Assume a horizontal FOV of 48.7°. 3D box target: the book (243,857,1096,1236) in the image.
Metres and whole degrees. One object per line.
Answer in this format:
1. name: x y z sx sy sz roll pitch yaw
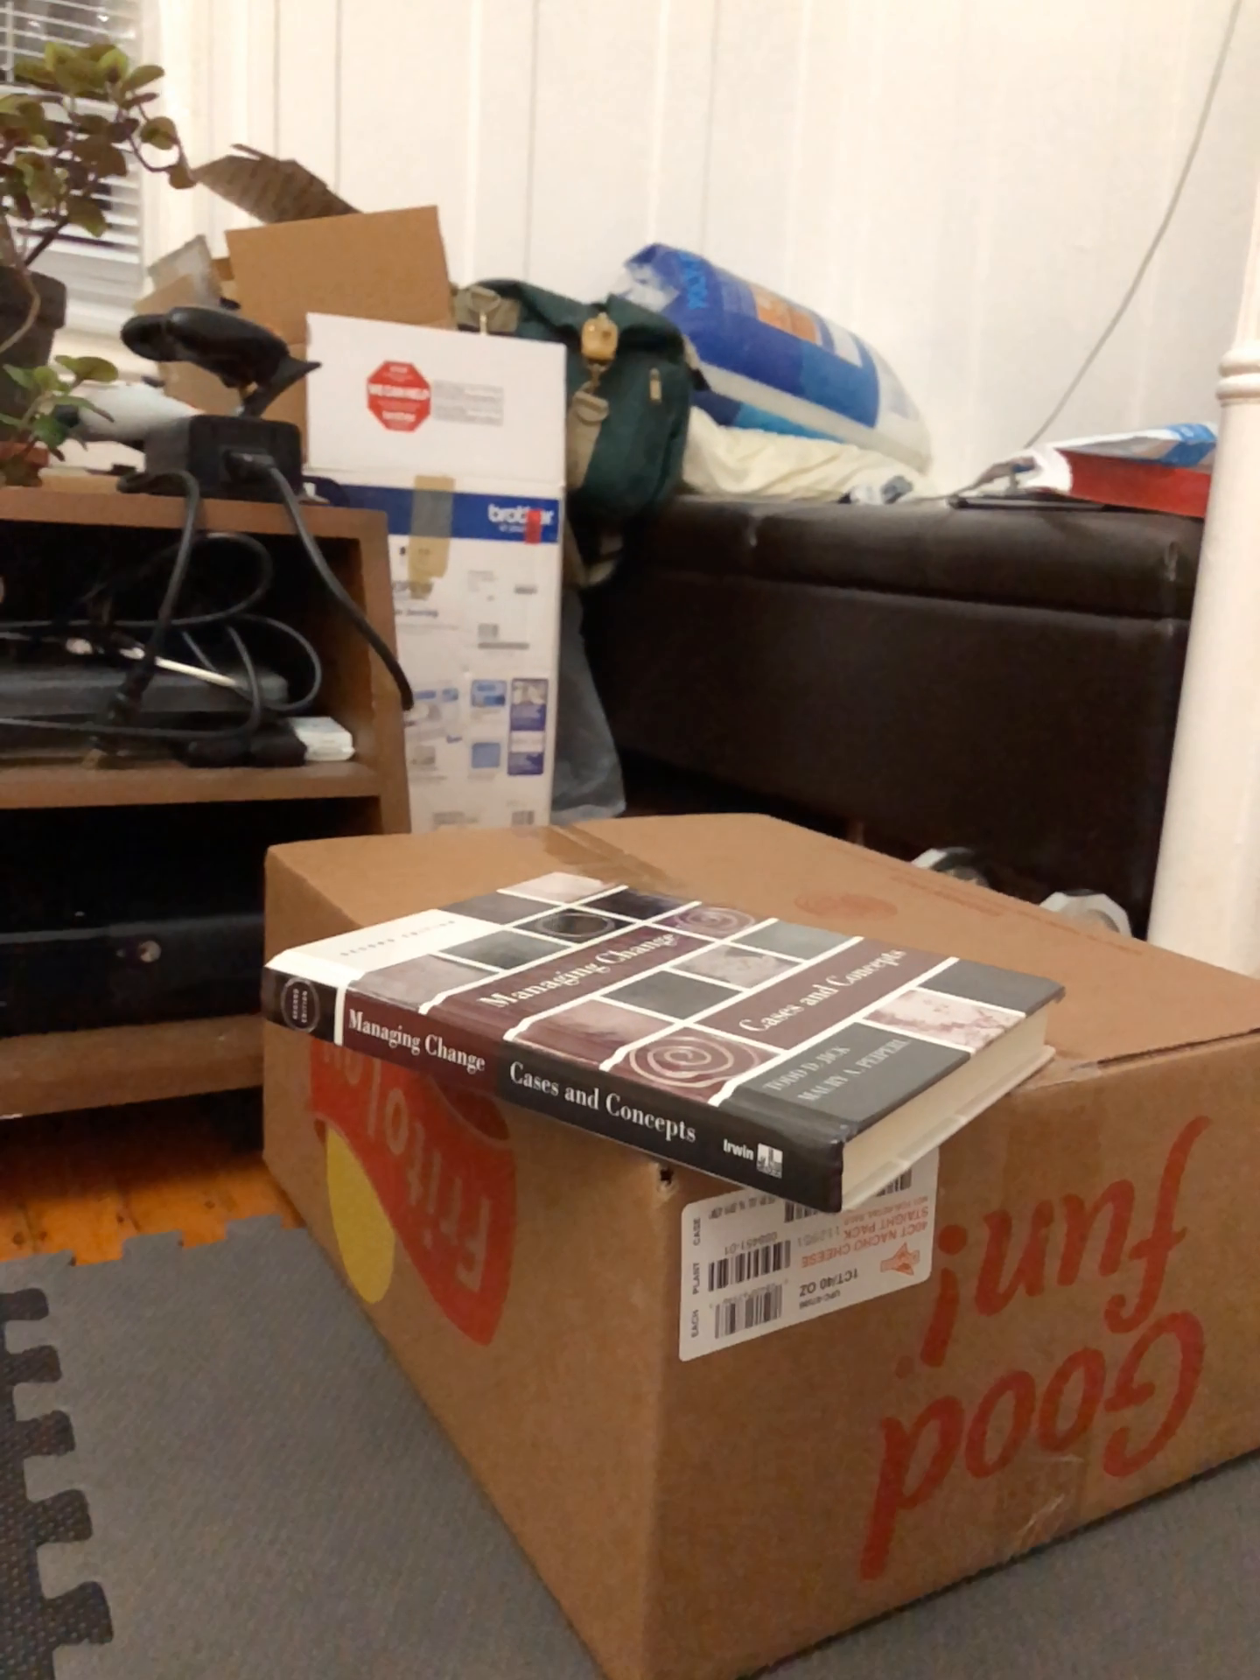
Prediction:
1. book: 0.014 0.056 0.505 0.250 0.030 0.180 12 15 34
